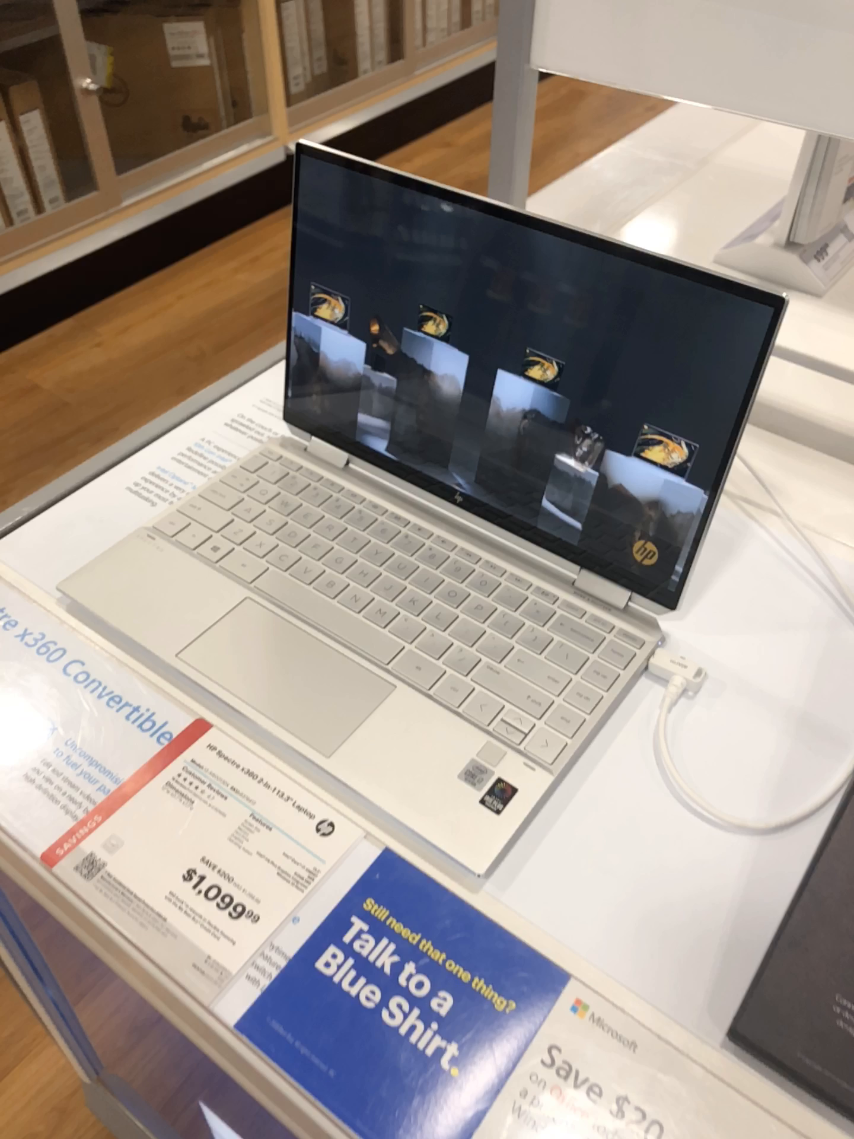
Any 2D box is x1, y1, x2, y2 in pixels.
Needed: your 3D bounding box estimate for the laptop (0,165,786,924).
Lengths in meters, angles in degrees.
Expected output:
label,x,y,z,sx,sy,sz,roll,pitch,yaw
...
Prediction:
label,x,y,z,sx,sy,sz,roll,pitch,yaw
laptop,-0.031,-0.040,0.477,0.303,0.184,0.228,29,51,26
